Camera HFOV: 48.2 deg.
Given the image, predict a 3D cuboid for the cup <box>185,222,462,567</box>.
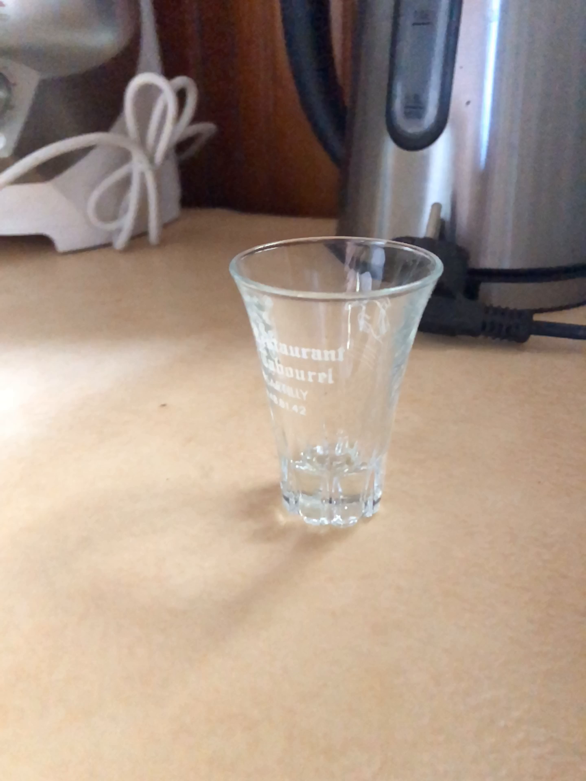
[{"bbox_3d":[0.010,-0.003,0.178,0.050,0.070,0.050,-1,27,0],"label":"cup"}]
